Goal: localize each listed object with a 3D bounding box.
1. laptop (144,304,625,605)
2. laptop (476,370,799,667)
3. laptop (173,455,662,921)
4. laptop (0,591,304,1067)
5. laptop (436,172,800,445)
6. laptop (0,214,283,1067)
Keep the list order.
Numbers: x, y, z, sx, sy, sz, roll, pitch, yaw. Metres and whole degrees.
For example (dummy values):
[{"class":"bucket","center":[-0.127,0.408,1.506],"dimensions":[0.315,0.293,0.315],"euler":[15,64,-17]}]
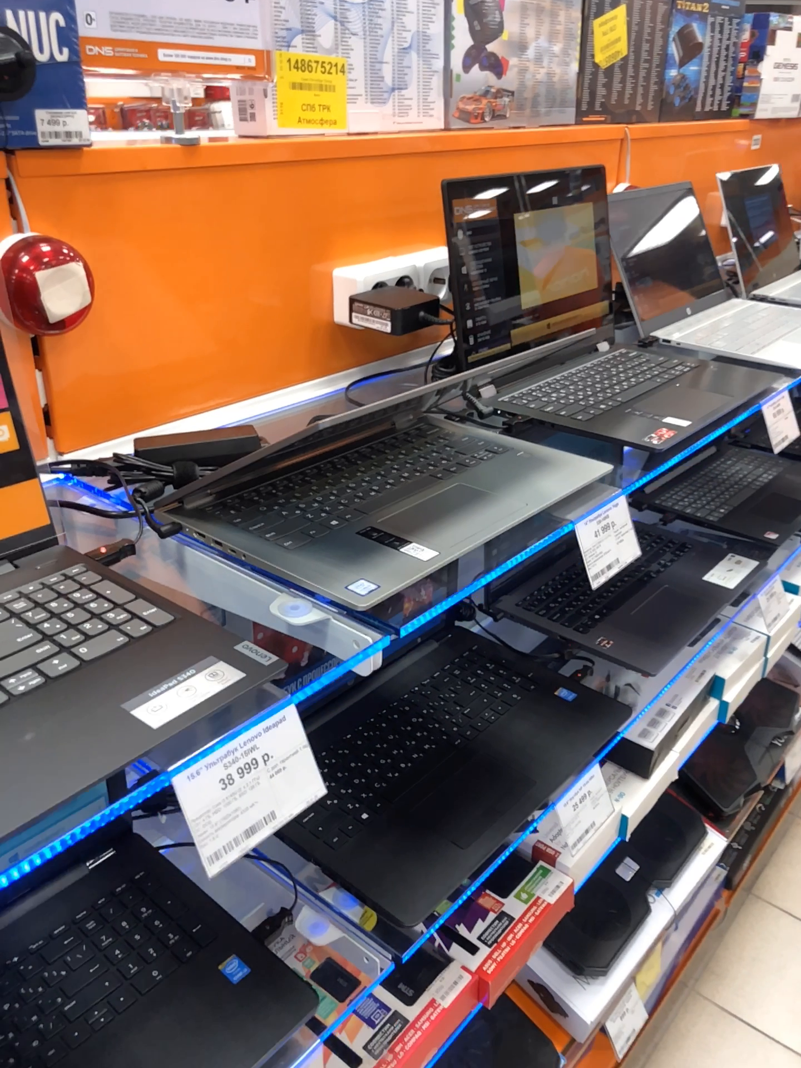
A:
[{"class":"laptop","center":[0.000,-0.087,0.695],"dimensions":[0.210,0.110,0.314],"euler":[22,33,35]},{"class":"laptop","center":[0.303,-0.040,1.125],"dimensions":[0.235,0.228,0.330],"euler":[22,33,34]},{"class":"laptop","center":[0.027,0.108,0.841],"dimensions":[0.260,0.223,0.362],"euler":[22,33,36]},{"class":"laptop","center":[-0.259,0.244,0.535],"dimensions":[0.244,0.222,0.333],"euler":[24,33,34]},{"class":"laptop","center":[0.247,-0.262,0.945],"dimensions":[0.247,0.210,0.328],"euler":[20,31,33]},{"class":"laptop","center":[-0.270,-0.008,0.398],"dimensions":[0.276,0.219,0.330],"euler":[20,31,34]}]
